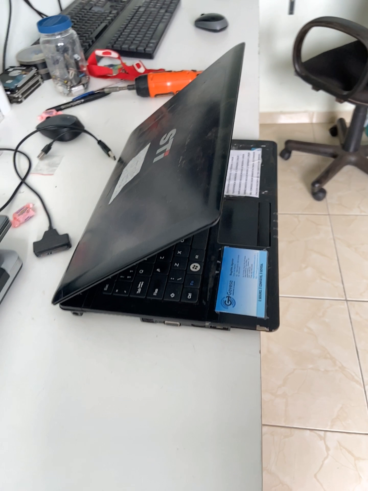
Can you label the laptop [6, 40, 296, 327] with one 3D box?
[{"bbox_3d":[0.001,-0.100,0.451,0.227,0.144,0.337,4,48,10],"label":"laptop"}]
